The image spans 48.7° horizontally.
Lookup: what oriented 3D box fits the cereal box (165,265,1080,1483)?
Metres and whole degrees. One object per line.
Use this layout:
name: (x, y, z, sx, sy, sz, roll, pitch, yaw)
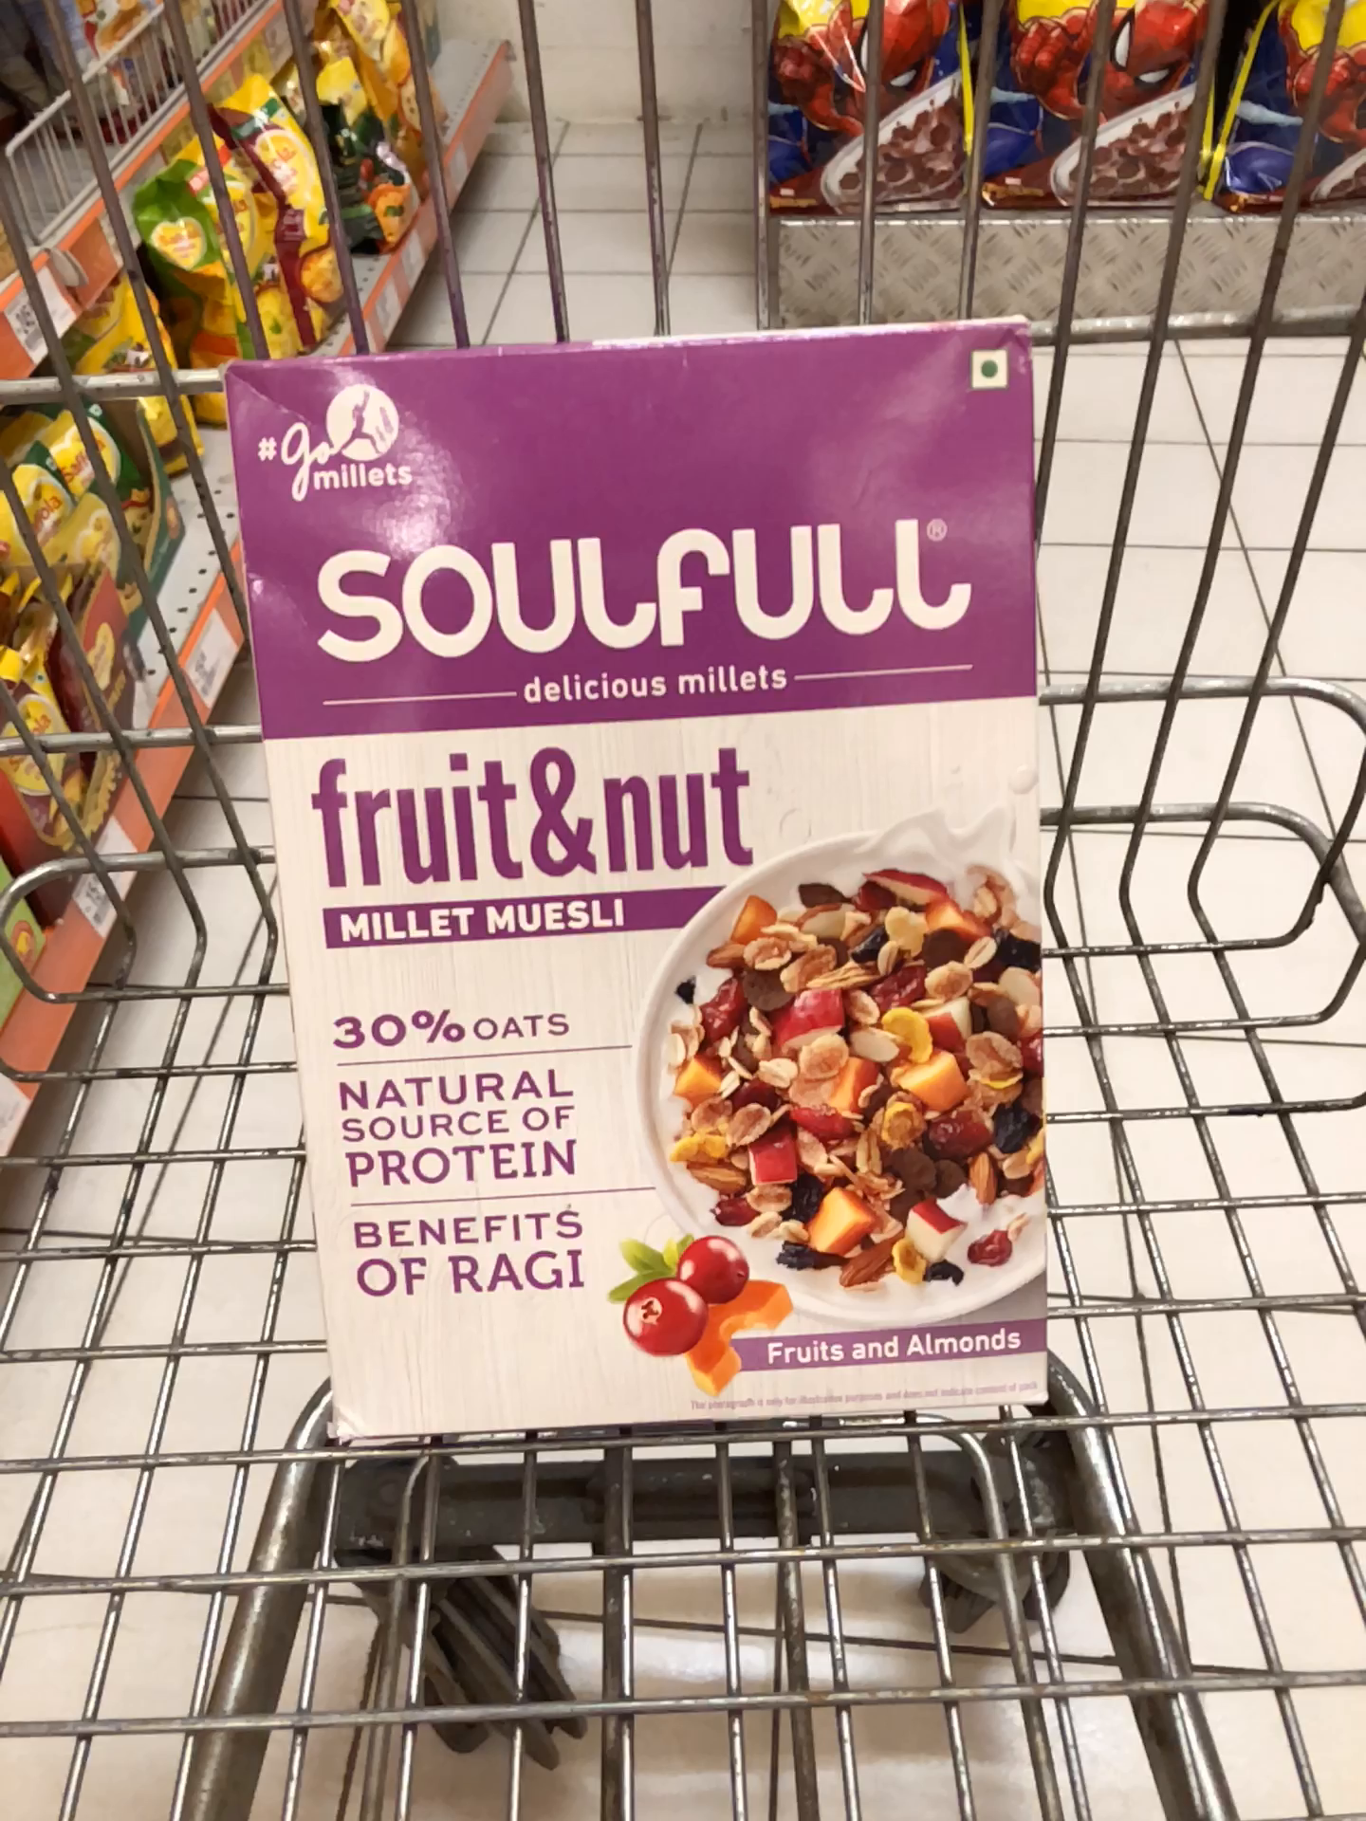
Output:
cereal box: (-0.006, -0.006, 0.339, 0.170, 0.239, 0.070, -3, 11, -1)
